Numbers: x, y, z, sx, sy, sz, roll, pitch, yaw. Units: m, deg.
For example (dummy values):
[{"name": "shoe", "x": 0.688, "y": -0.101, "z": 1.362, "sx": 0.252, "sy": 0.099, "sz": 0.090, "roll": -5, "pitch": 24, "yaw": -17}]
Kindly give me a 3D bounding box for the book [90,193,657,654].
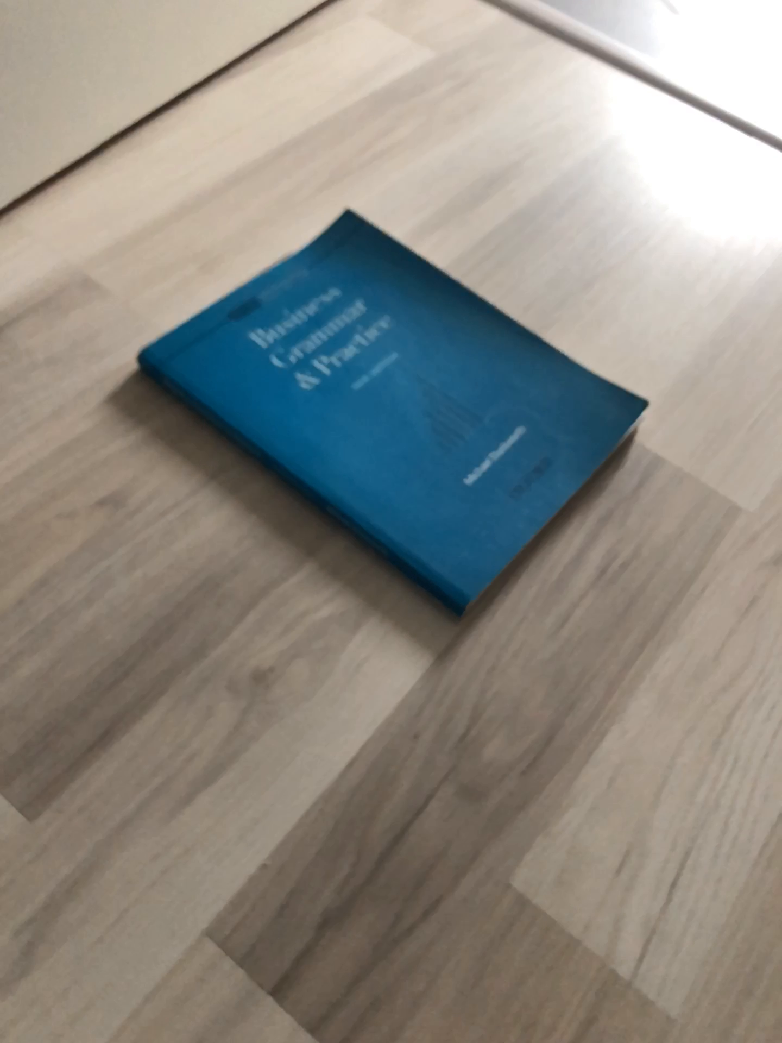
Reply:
[{"name": "book", "x": -0.009, "y": -0.089, "z": 0.596, "sx": 0.300, "sy": 0.040, "sz": 0.231, "roll": 37, "pitch": 59, "yaw": 17}]
